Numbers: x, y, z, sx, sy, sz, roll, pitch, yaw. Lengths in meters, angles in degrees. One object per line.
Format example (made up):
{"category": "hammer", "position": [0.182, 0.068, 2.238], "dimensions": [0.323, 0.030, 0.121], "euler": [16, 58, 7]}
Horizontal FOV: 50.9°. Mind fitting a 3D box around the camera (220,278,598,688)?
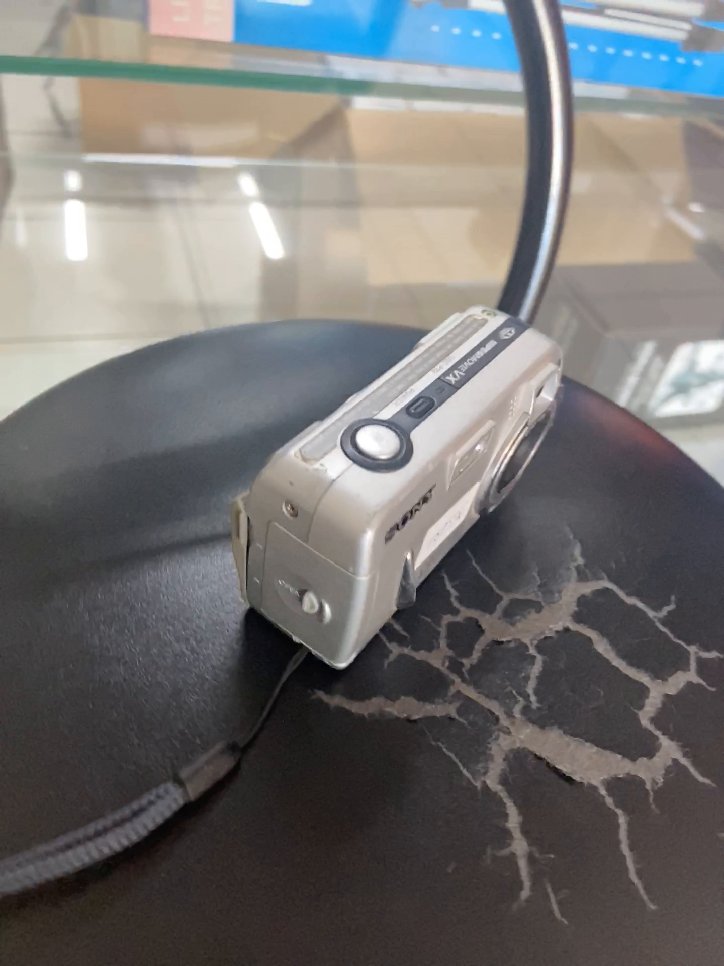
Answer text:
{"category": "camera", "position": [0.014, -0.005, 0.197], "dimensions": [0.040, 0.050, 0.101], "euler": [33, 49, 19]}
